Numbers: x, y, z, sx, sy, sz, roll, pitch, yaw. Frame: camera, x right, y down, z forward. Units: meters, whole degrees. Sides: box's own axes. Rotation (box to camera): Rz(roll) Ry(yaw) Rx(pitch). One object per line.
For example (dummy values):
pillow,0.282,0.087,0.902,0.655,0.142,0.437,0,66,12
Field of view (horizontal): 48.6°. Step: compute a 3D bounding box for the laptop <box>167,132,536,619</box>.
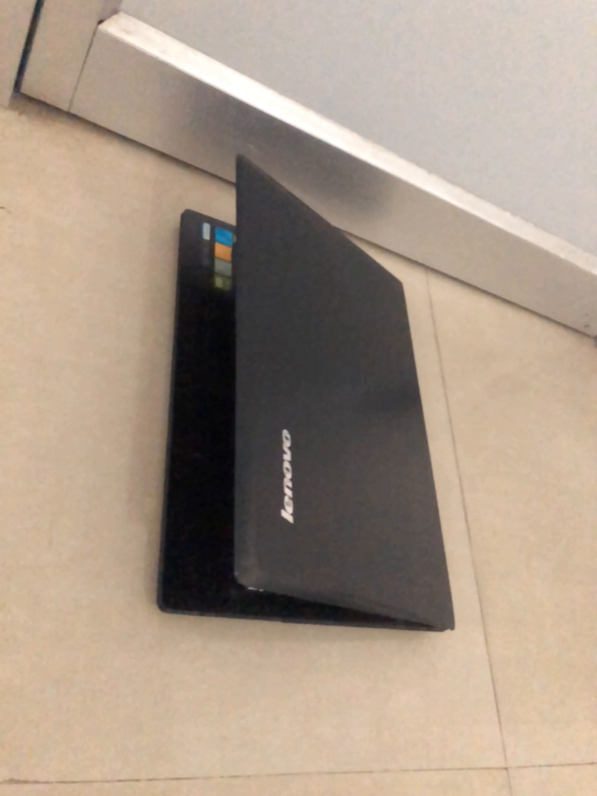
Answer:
laptop,0.036,-0.015,0.560,0.258,0.097,0.368,14,56,-29
